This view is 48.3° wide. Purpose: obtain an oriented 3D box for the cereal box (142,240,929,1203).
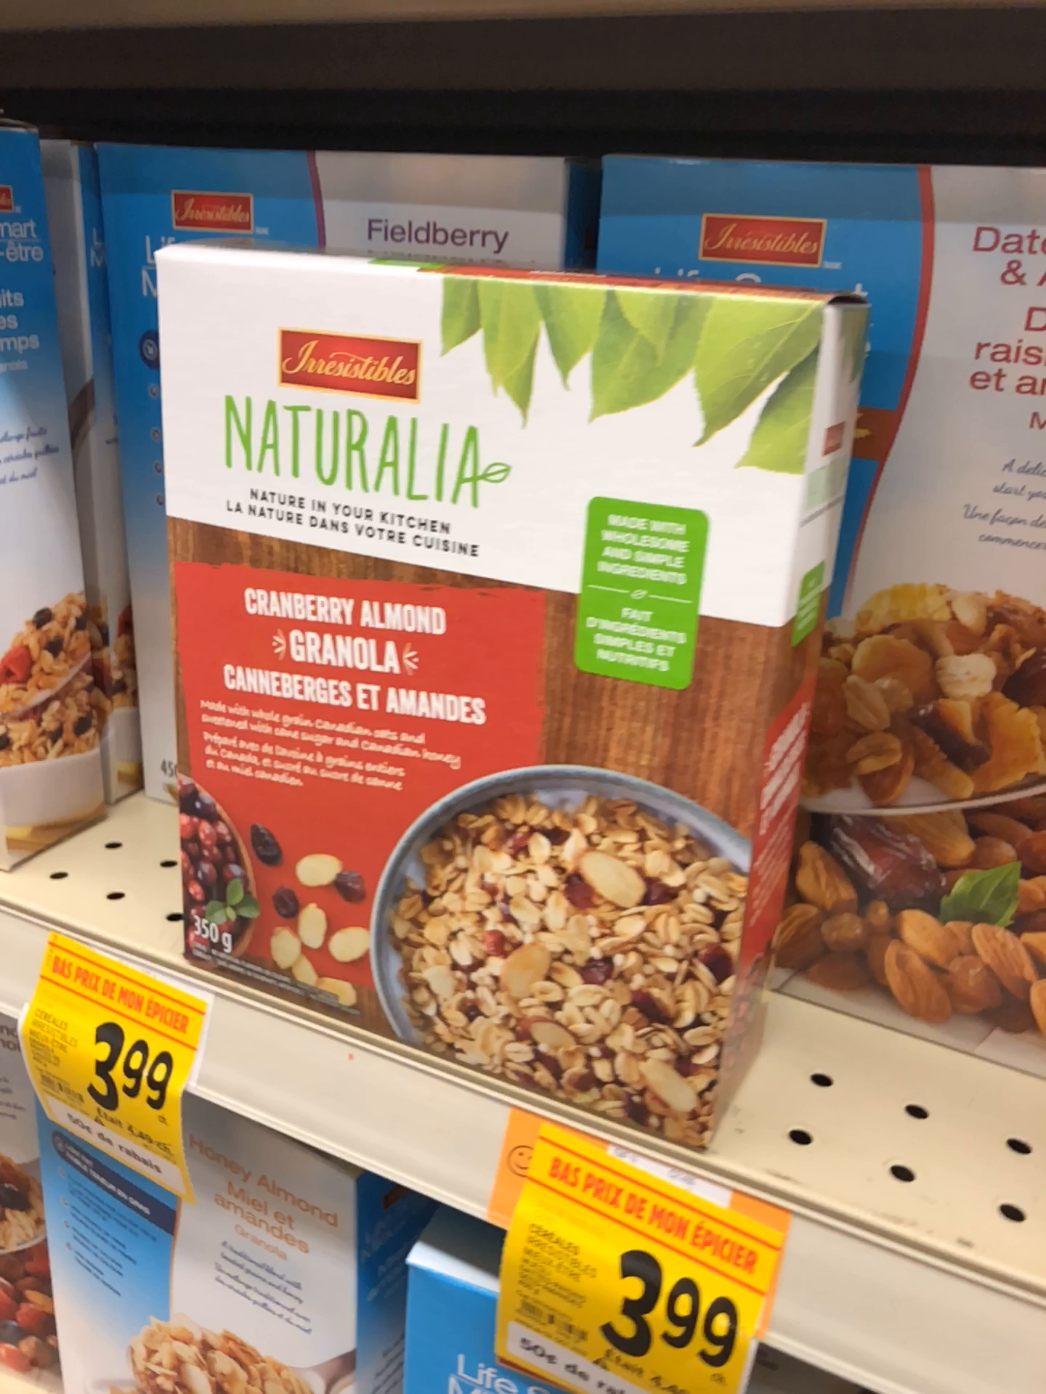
[{"bbox_3d":[-0.005,-0.002,0.303,0.170,0.209,0.060,13,23,23],"label":"cereal box"}]
